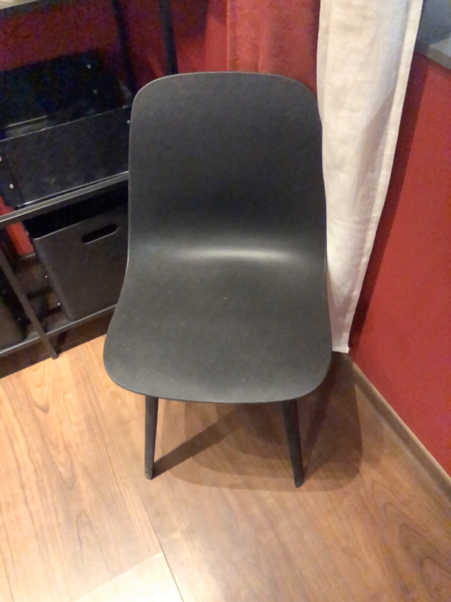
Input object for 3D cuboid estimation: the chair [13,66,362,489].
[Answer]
[{"bbox_3d":[-0.022,-0.002,1.011,0.410,0.726,0.483,2,50,4],"label":"chair"}]
